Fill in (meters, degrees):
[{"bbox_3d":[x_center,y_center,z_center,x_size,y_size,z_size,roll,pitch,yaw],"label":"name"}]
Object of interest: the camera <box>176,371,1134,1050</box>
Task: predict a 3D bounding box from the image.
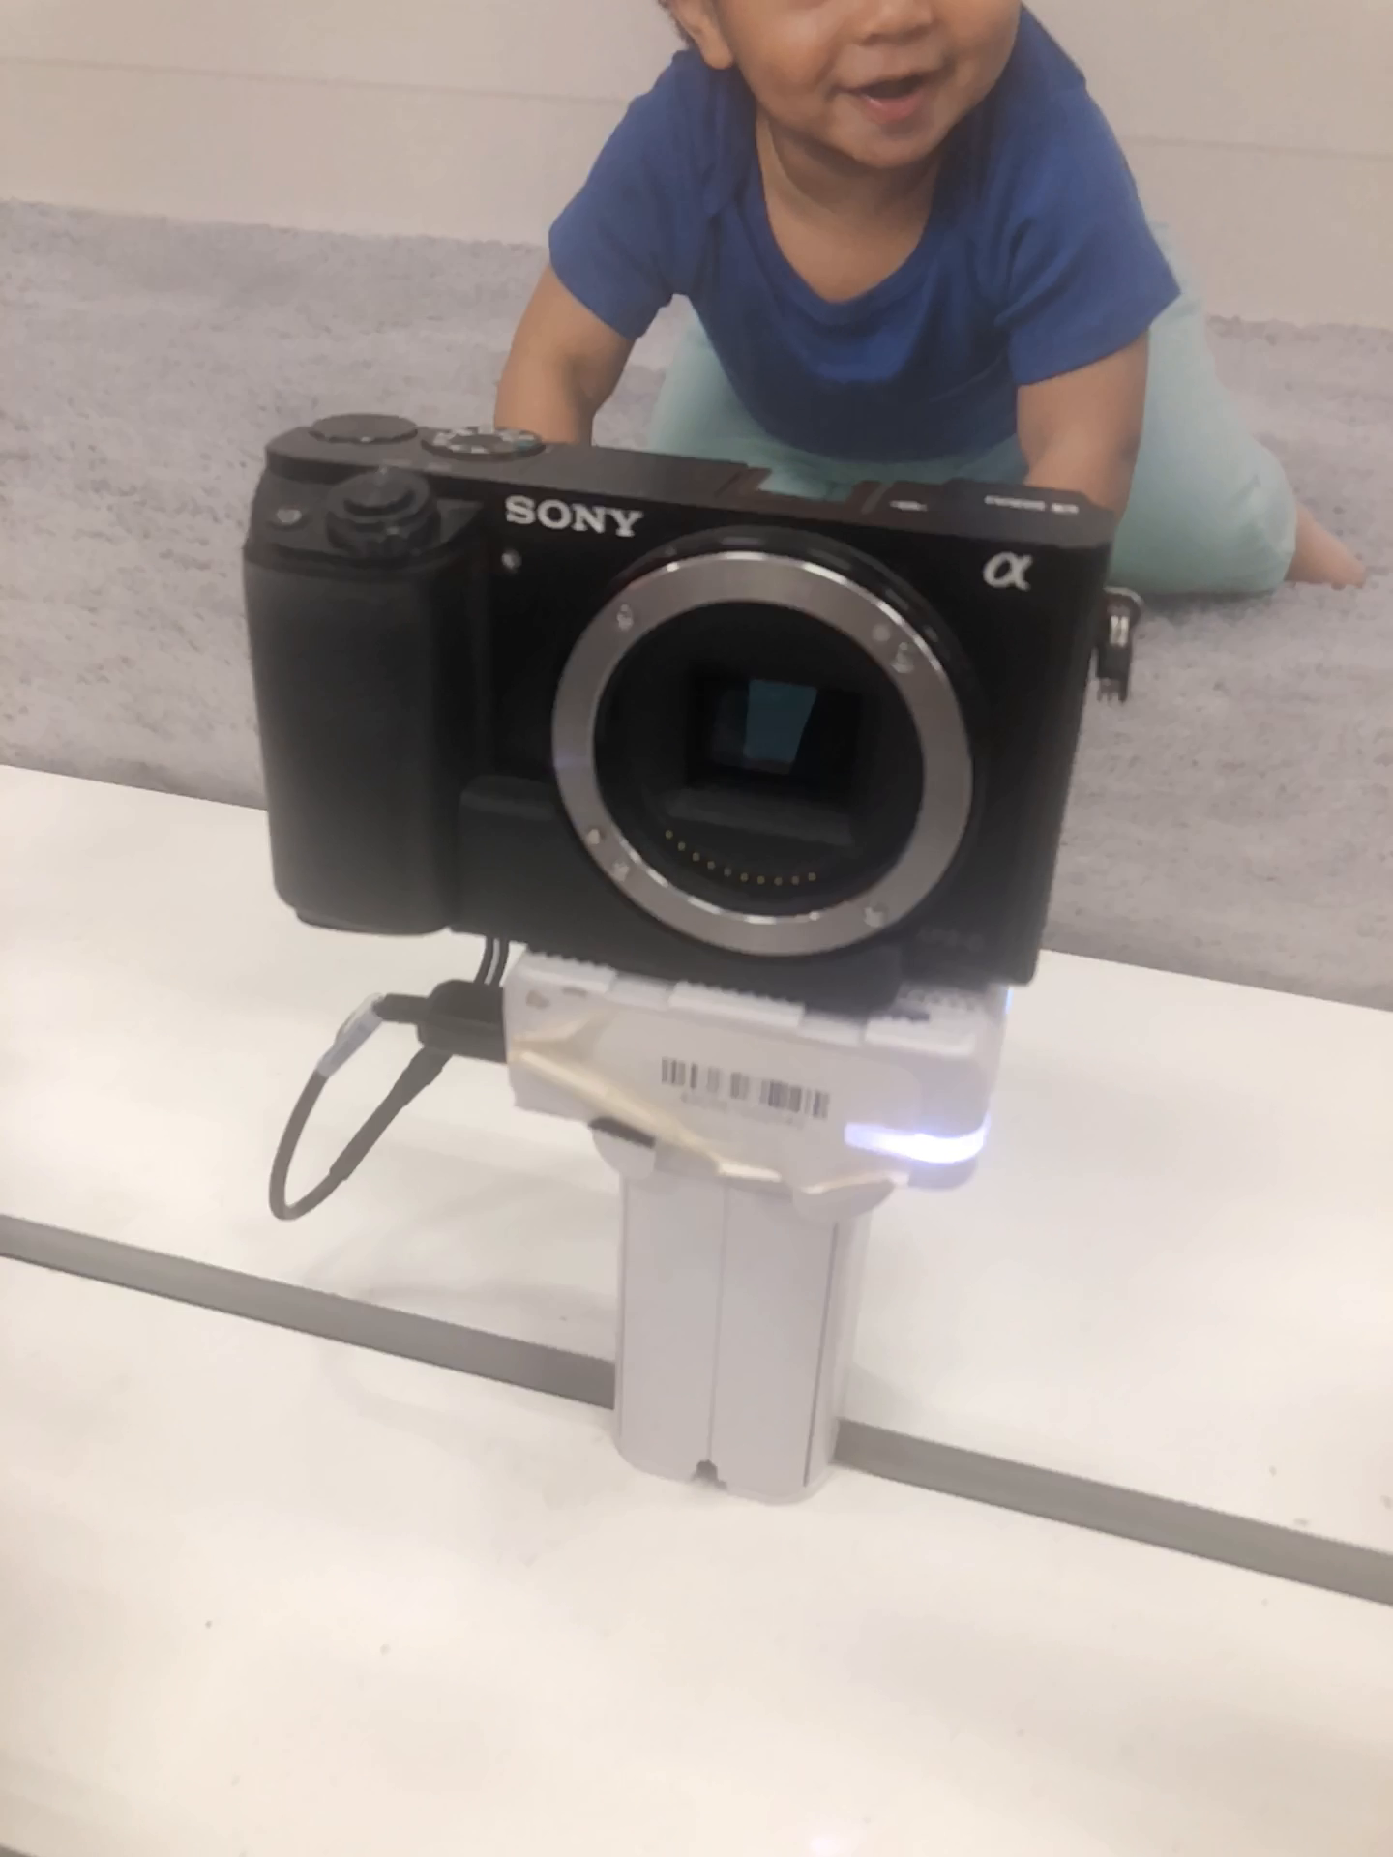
[{"bbox_3d":[-0.006,-0.034,0.220,0.120,0.070,0.040,10,30,11],"label":"camera"}]
